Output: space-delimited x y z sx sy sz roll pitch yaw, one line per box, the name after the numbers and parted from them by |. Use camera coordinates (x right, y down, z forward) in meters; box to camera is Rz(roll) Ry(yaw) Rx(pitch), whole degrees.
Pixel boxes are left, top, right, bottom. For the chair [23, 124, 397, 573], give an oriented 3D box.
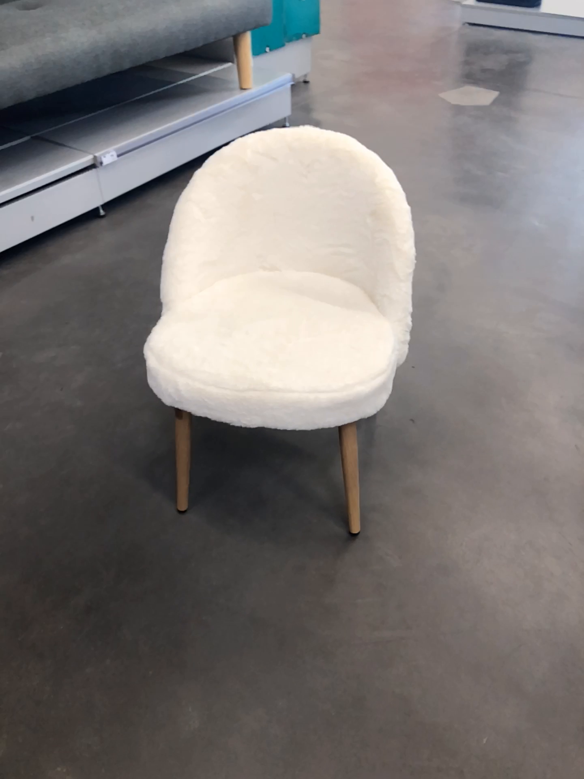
-0.064 -0.081 1.062 0.410 0.537 0.473 5 40 8 | chair
